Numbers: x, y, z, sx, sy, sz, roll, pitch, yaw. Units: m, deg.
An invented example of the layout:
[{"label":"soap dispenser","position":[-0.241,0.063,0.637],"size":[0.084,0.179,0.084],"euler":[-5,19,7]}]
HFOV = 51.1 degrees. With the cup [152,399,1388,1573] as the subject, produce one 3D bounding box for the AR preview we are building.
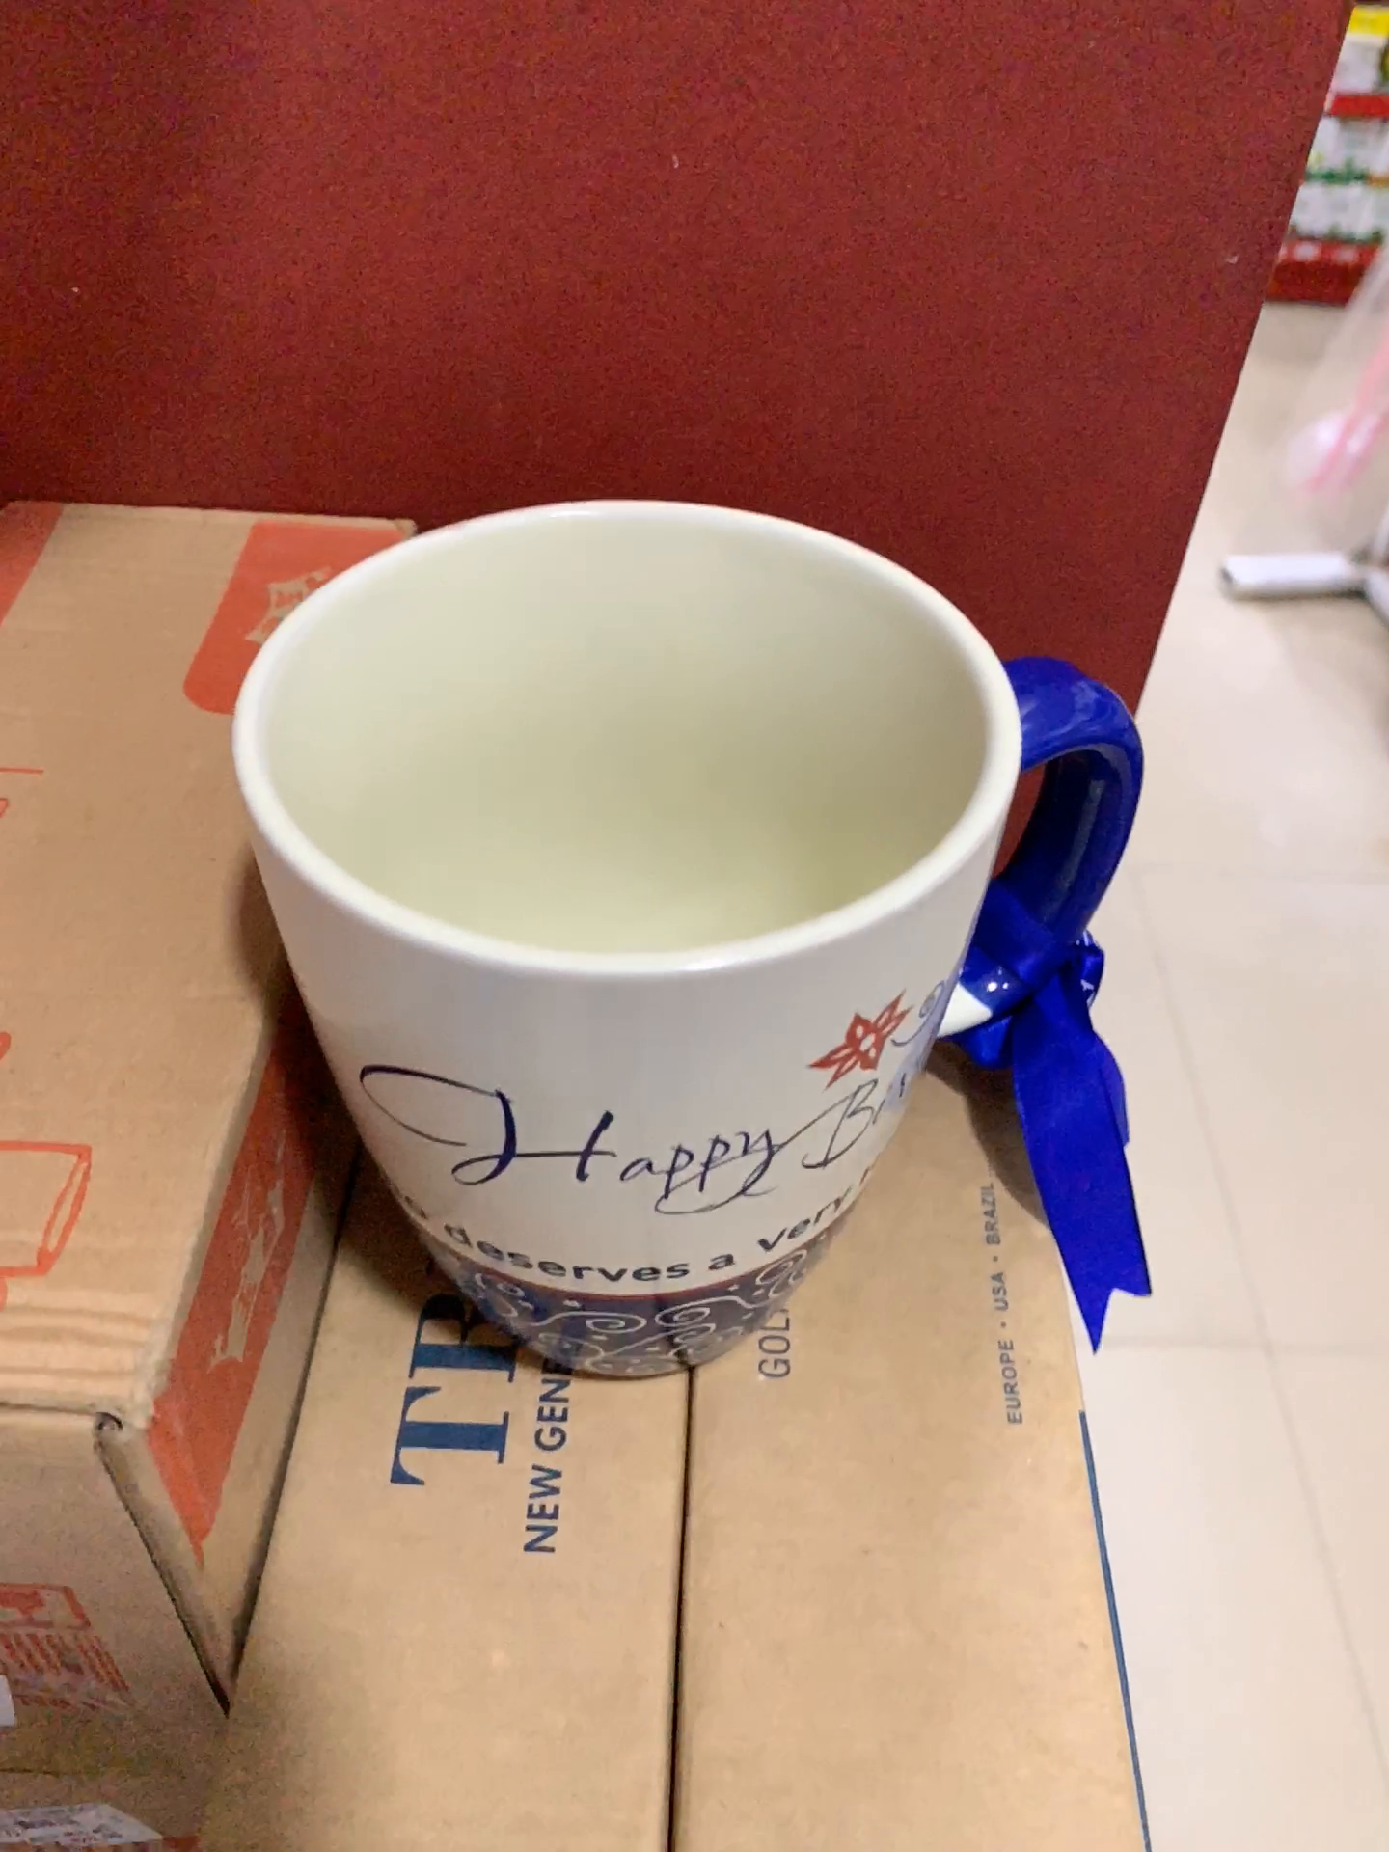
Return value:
[{"label":"cup","position":[0.012,0.000,0.200],"size":[0.131,0.086,0.092],"euler":[-19,48,-20]}]
